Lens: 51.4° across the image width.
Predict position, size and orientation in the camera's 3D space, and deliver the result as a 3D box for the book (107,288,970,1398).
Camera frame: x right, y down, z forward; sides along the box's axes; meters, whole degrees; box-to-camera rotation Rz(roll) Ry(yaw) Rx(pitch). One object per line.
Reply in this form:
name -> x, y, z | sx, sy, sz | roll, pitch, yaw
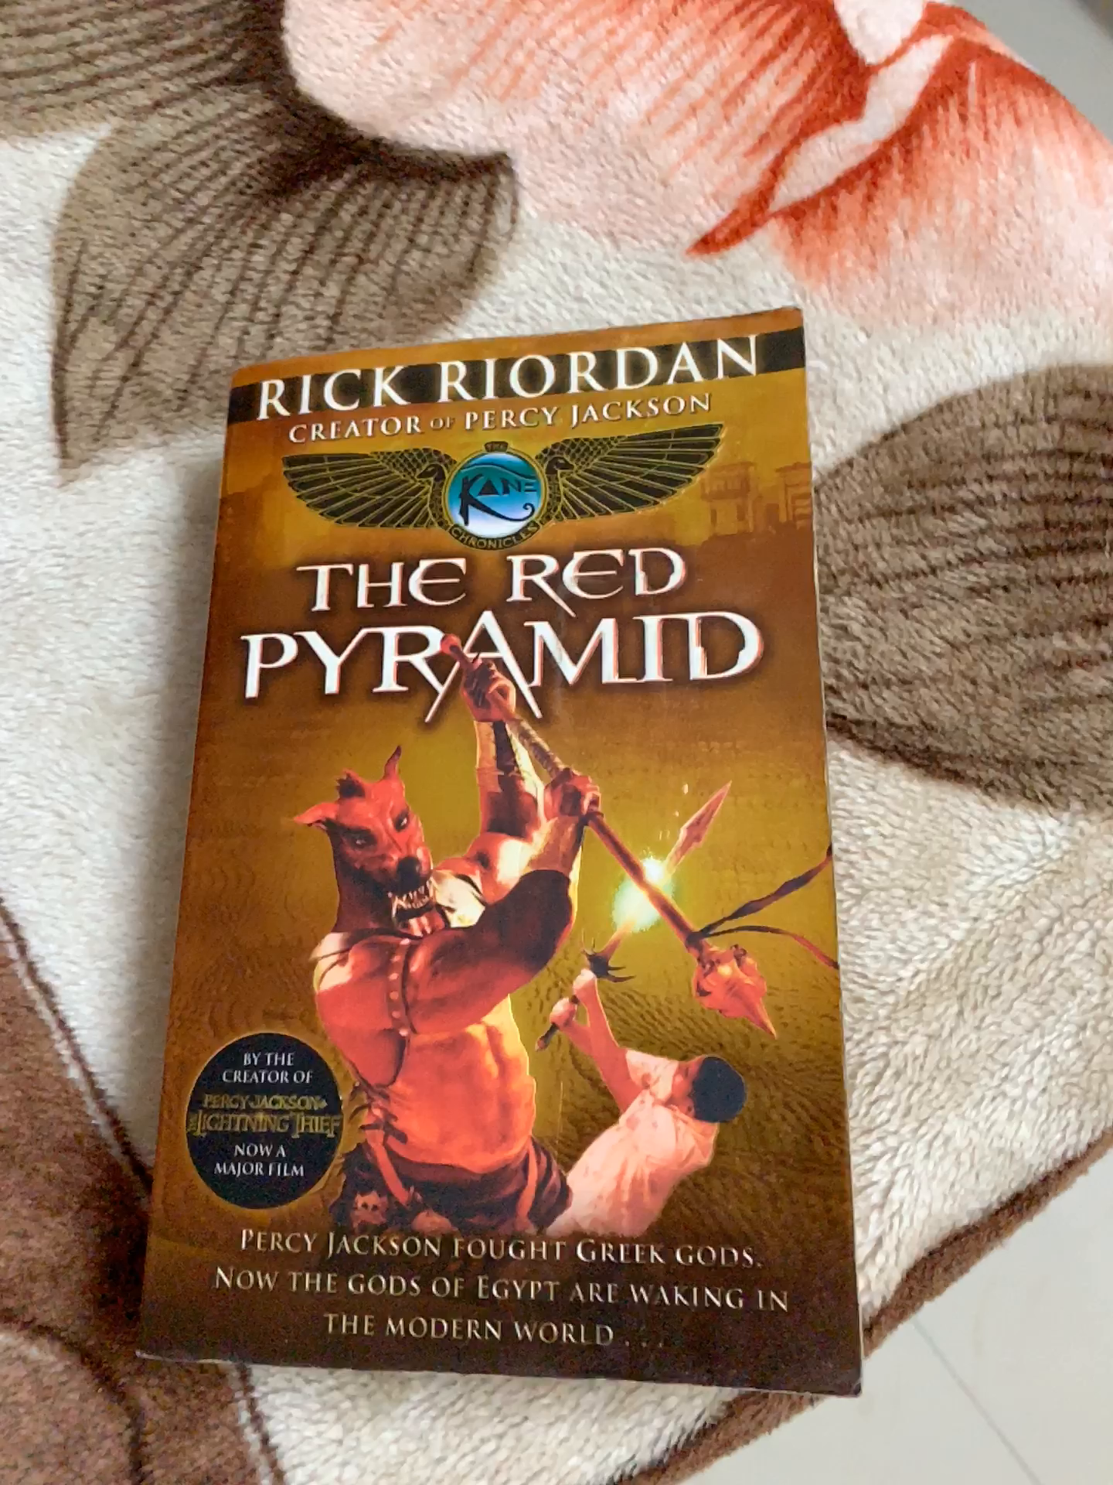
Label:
book -> -0.003, 0.012, 0.252 | 0.150, 0.040, 0.220 | -2, 73, 6
